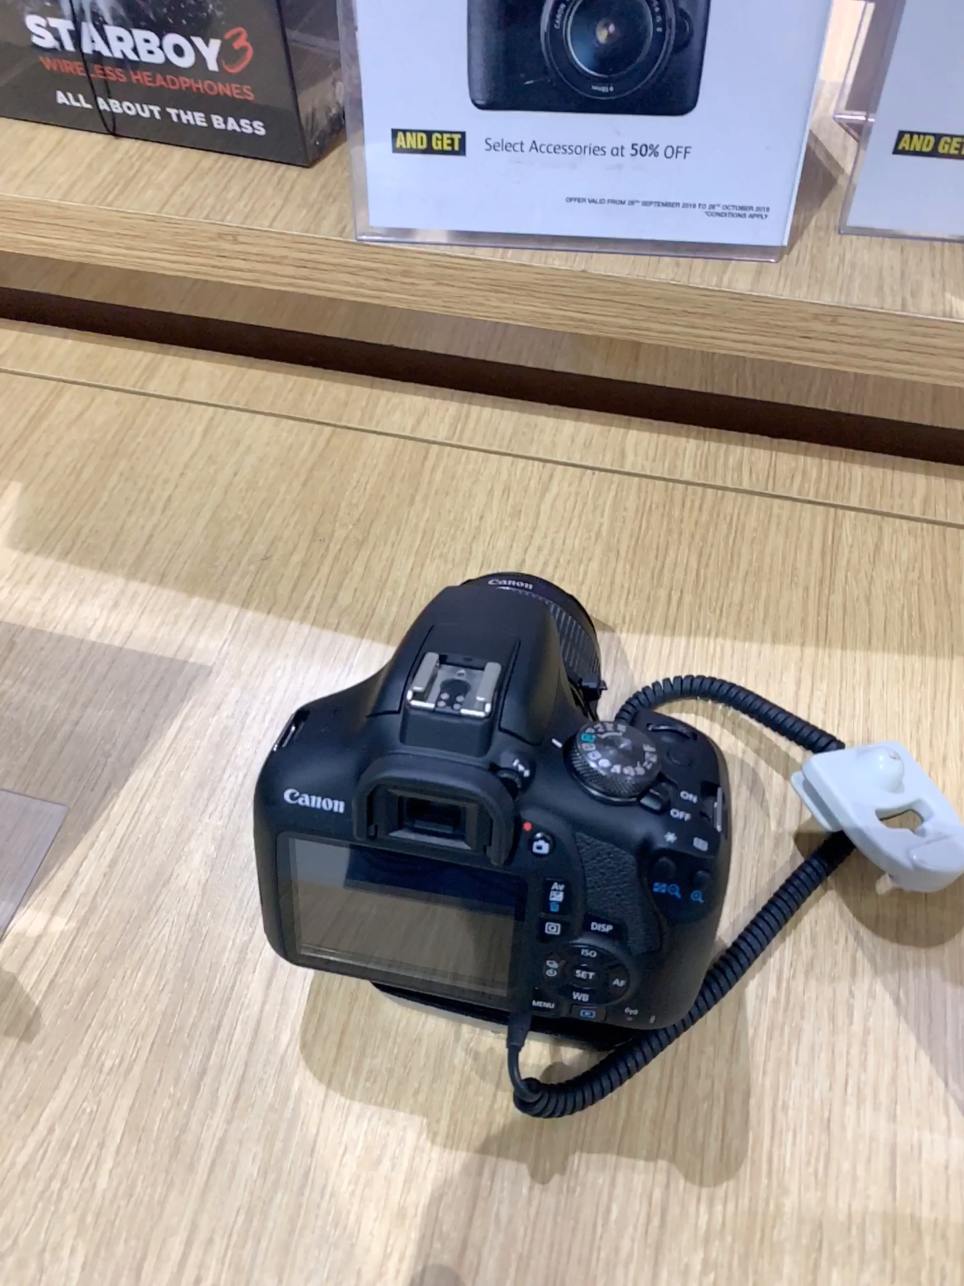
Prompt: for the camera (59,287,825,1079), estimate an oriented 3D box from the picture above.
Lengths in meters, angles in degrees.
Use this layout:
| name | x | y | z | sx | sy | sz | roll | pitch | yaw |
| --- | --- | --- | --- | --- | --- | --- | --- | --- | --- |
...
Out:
| name | x | y | z | sx | sy | sz | roll | pitch | yaw |
| --- | --- | --- | --- | --- | --- | --- | --- | --- | --- |
| camera | 0.006 | 0.008 | 0.268 | 0.140 | 0.110 | 0.160 | 9 | 56 | 8 |
